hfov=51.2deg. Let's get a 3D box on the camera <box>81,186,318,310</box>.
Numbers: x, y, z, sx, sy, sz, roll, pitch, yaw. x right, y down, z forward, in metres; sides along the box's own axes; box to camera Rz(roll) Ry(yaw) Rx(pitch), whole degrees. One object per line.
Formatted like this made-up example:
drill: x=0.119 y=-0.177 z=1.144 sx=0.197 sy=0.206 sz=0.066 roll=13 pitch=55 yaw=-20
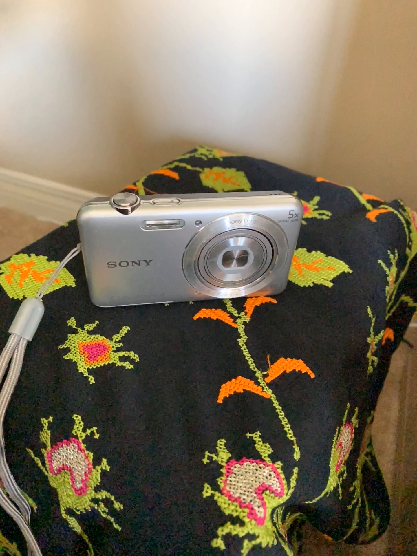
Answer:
camera: x=-0.004 y=-0.012 z=0.177 sx=0.086 sy=0.042 sz=0.020 roll=-4 pitch=40 yaw=-9
